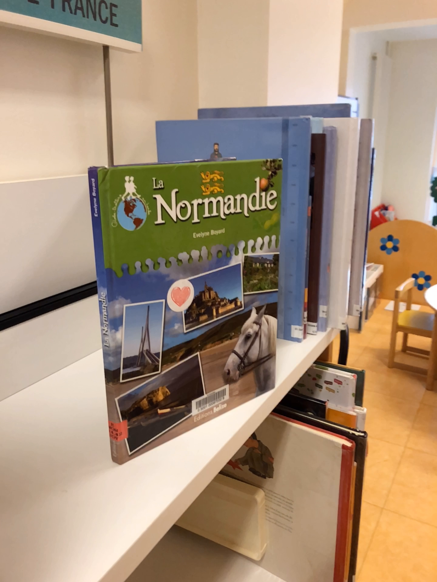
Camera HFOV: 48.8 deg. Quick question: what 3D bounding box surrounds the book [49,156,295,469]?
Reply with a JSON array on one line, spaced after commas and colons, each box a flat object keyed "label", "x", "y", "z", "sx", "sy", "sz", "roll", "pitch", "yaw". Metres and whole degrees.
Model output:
[{"label": "book", "x": -0.031, "y": 0.003, "z": 0.461, "sx": 0.209, "sy": 0.249, "sz": 0.077, "roll": -13, "pitch": 21, "yaw": -36}]
